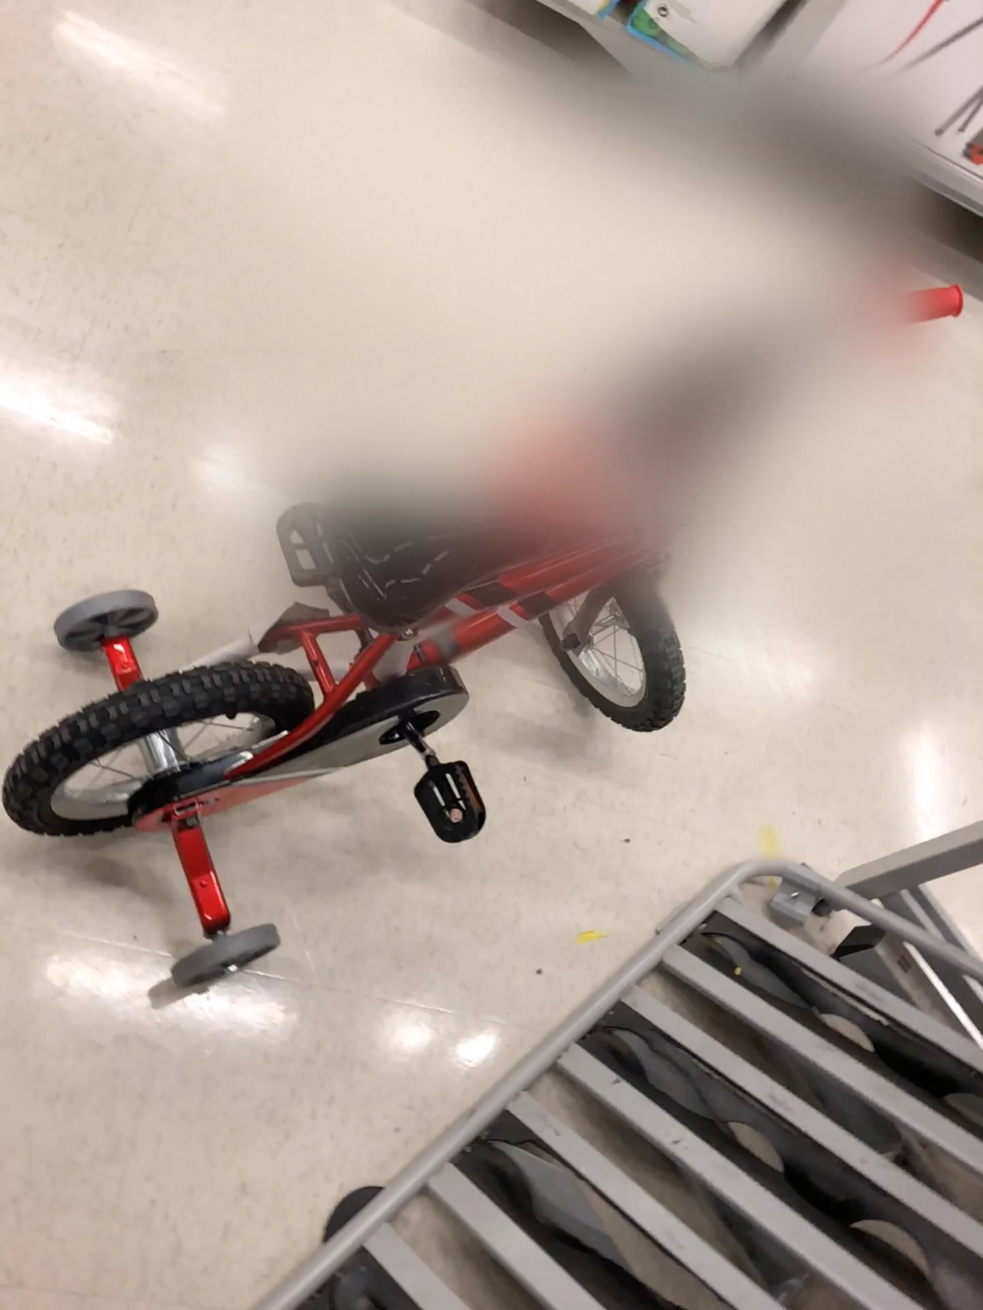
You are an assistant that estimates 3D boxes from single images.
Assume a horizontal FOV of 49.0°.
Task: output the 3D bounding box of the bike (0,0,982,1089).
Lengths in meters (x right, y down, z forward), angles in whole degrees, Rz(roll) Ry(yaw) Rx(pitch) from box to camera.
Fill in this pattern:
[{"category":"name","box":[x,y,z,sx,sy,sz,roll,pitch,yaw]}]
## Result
[{"category":"bike","box":[-0.068,-0.100,0.986,0.701,0.679,0.531,-27,80,-36]}]
